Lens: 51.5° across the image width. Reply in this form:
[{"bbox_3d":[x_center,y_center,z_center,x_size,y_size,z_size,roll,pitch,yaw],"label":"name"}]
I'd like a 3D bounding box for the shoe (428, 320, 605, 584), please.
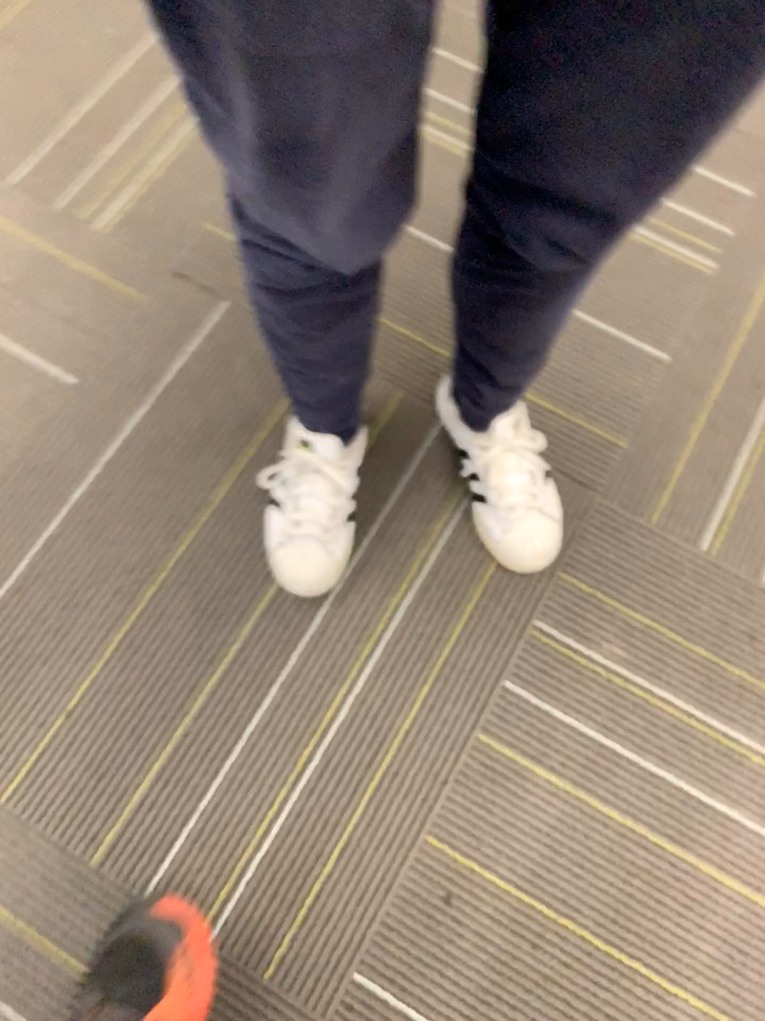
[{"bbox_3d":[0.141,-0.066,0.896,0.108,0.104,0.263,-12,70,-7],"label":"shoe"}]

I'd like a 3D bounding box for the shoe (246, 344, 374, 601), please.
[{"bbox_3d":[-0.075,-0.042,0.885,0.105,0.104,0.258,5,69,0],"label":"shoe"}]
